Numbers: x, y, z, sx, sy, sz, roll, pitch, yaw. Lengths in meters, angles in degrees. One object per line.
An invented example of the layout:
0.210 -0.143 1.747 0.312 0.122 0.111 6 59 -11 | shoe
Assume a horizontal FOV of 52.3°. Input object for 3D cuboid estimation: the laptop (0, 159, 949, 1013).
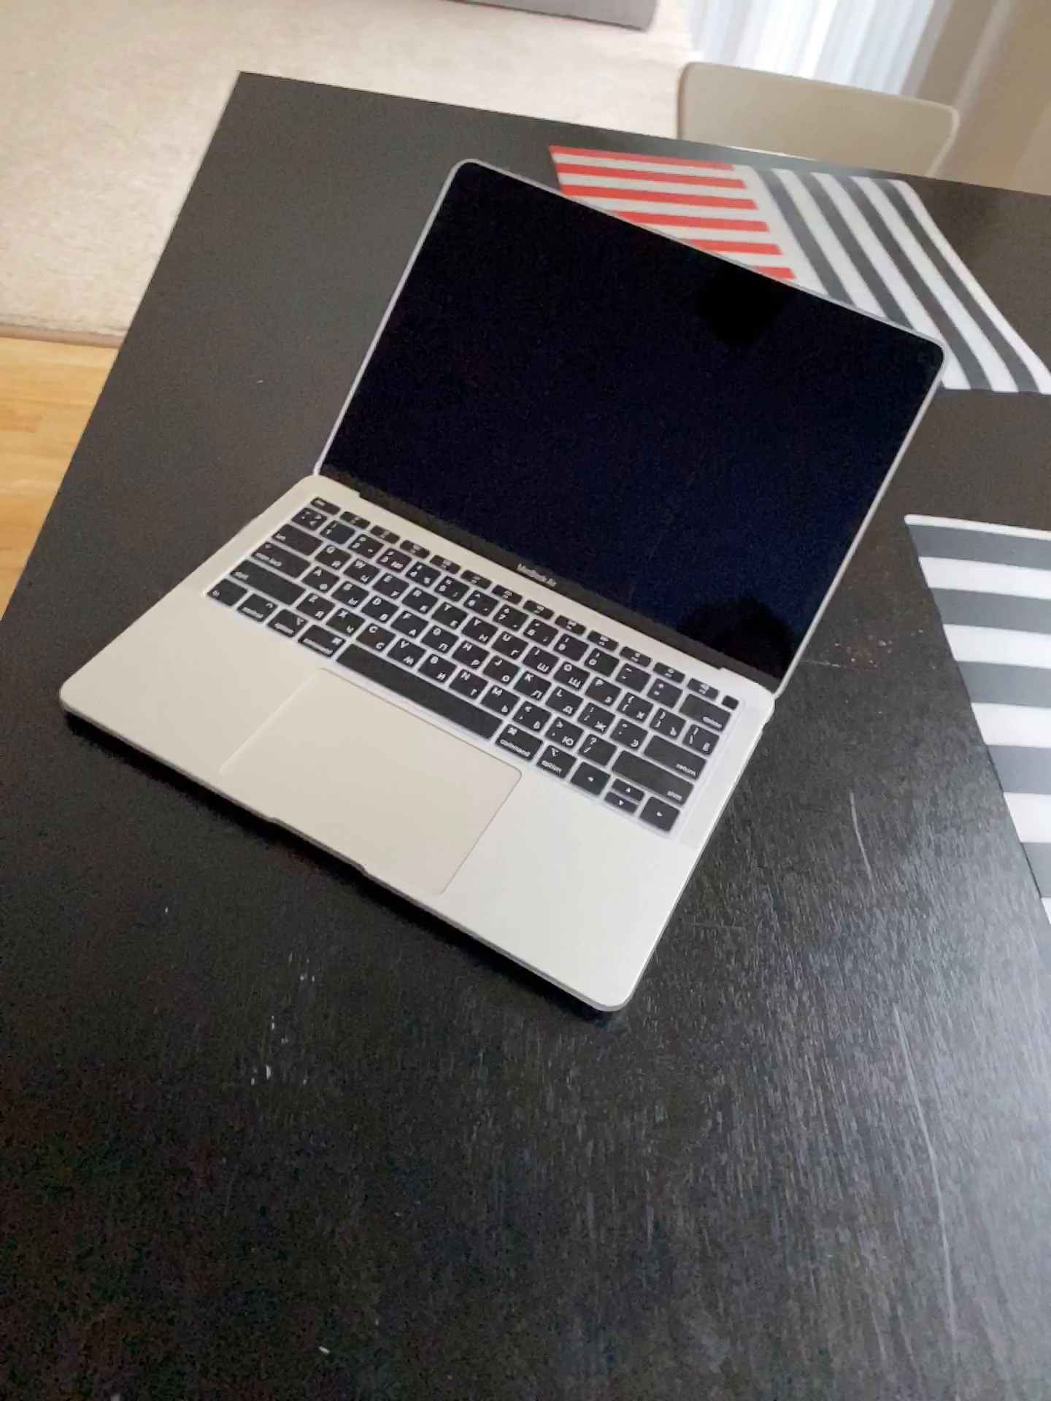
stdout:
0.002 -0.094 0.537 0.297 0.139 0.363 27 50 12 | laptop
